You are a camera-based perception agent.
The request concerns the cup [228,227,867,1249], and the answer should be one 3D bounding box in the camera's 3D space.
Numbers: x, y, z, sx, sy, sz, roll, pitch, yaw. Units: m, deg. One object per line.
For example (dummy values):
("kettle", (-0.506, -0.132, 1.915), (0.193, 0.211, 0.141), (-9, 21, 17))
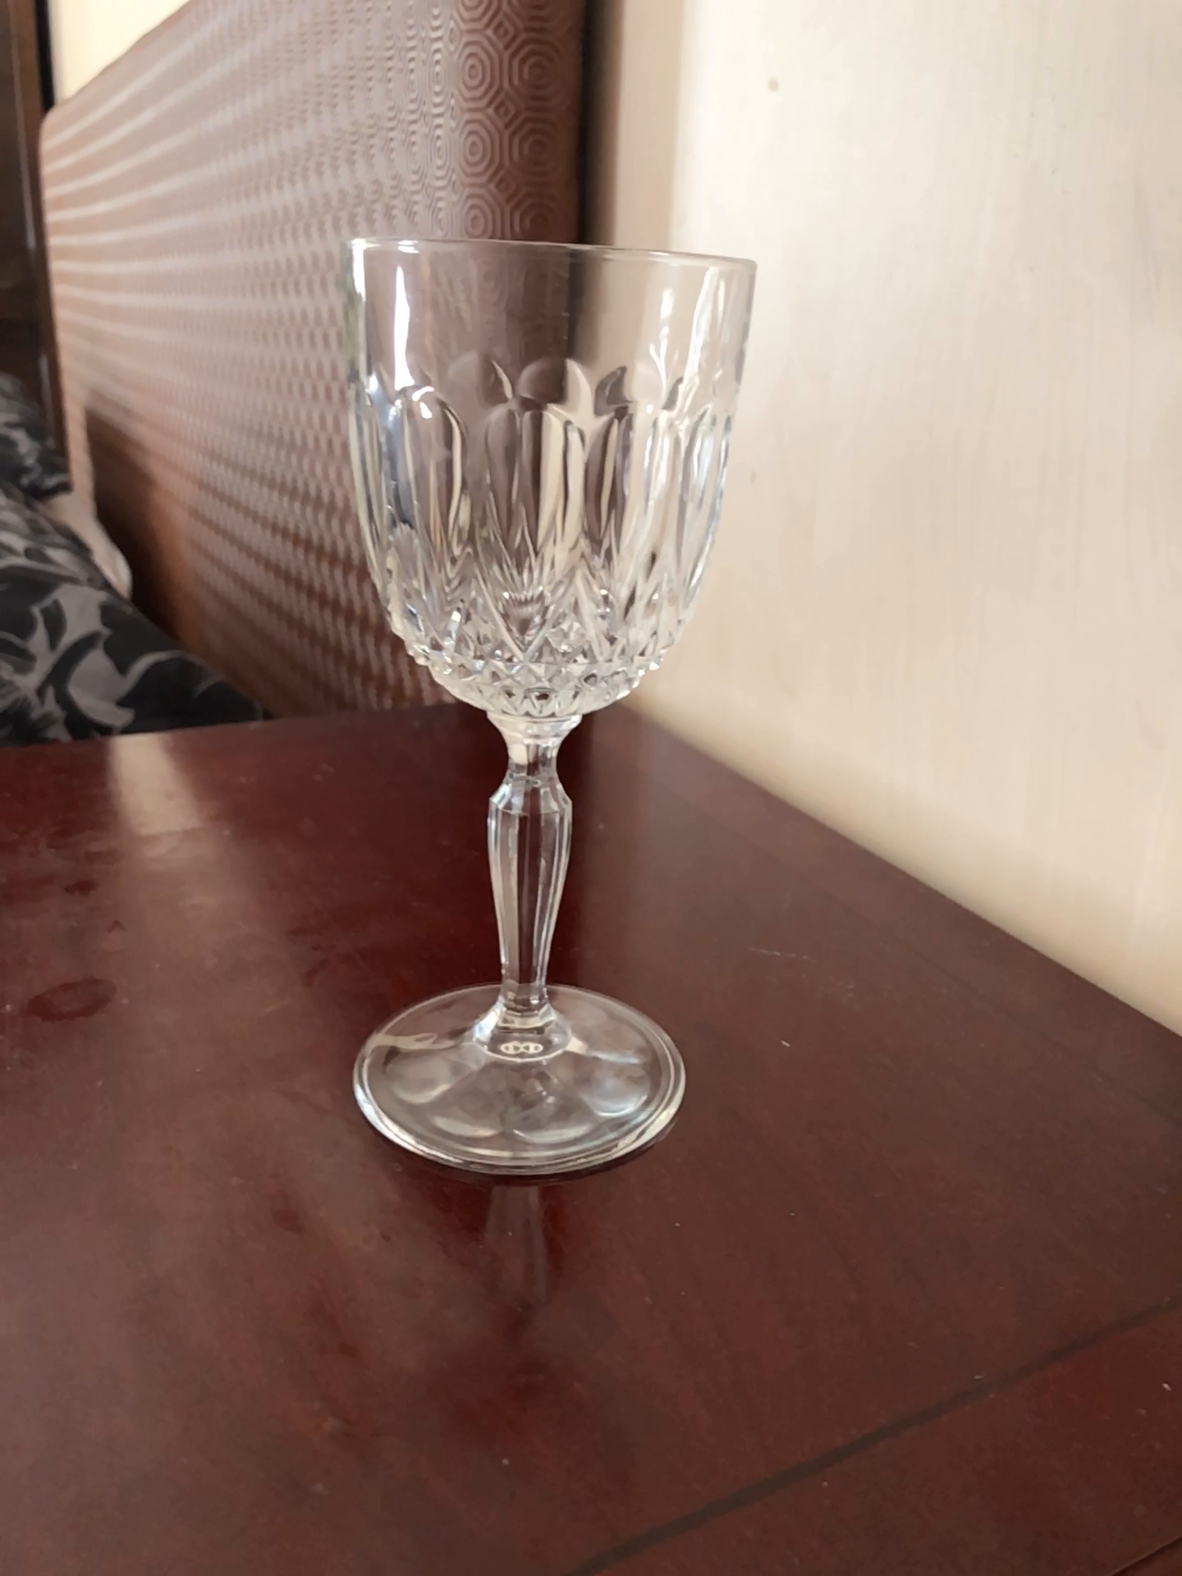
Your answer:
("cup", (-0.017, -0.017, 0.278), (0.092, 0.178, 0.096), (2, 20, -1))
